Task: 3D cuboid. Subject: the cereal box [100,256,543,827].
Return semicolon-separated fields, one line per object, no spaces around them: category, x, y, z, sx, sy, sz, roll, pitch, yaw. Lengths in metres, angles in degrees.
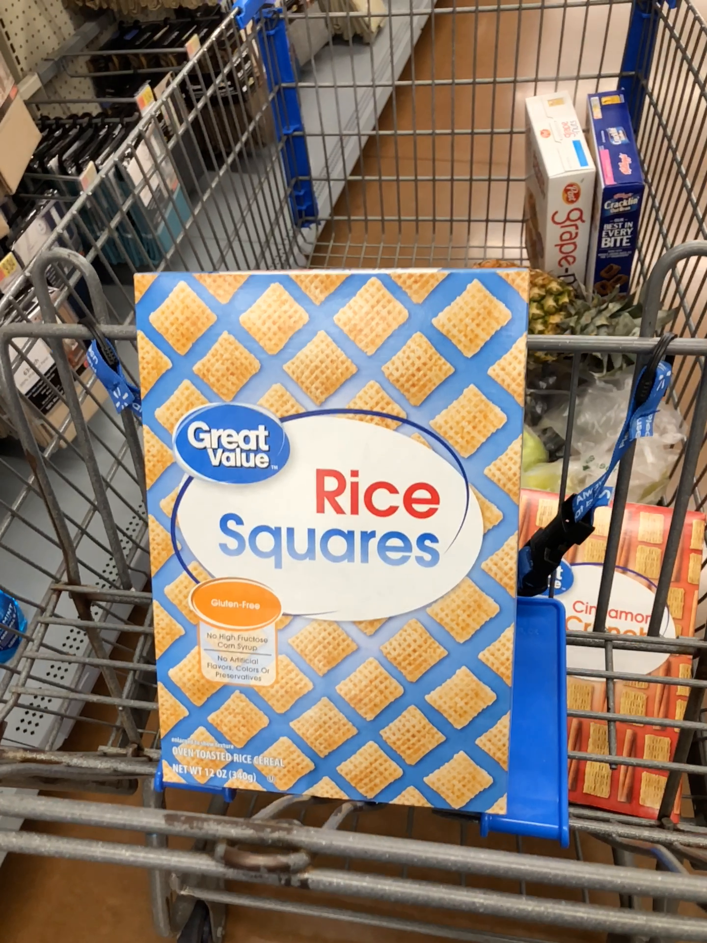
cereal box;-0.012;0.032;0.426;0.210;0.280;0.080;2;11;10
